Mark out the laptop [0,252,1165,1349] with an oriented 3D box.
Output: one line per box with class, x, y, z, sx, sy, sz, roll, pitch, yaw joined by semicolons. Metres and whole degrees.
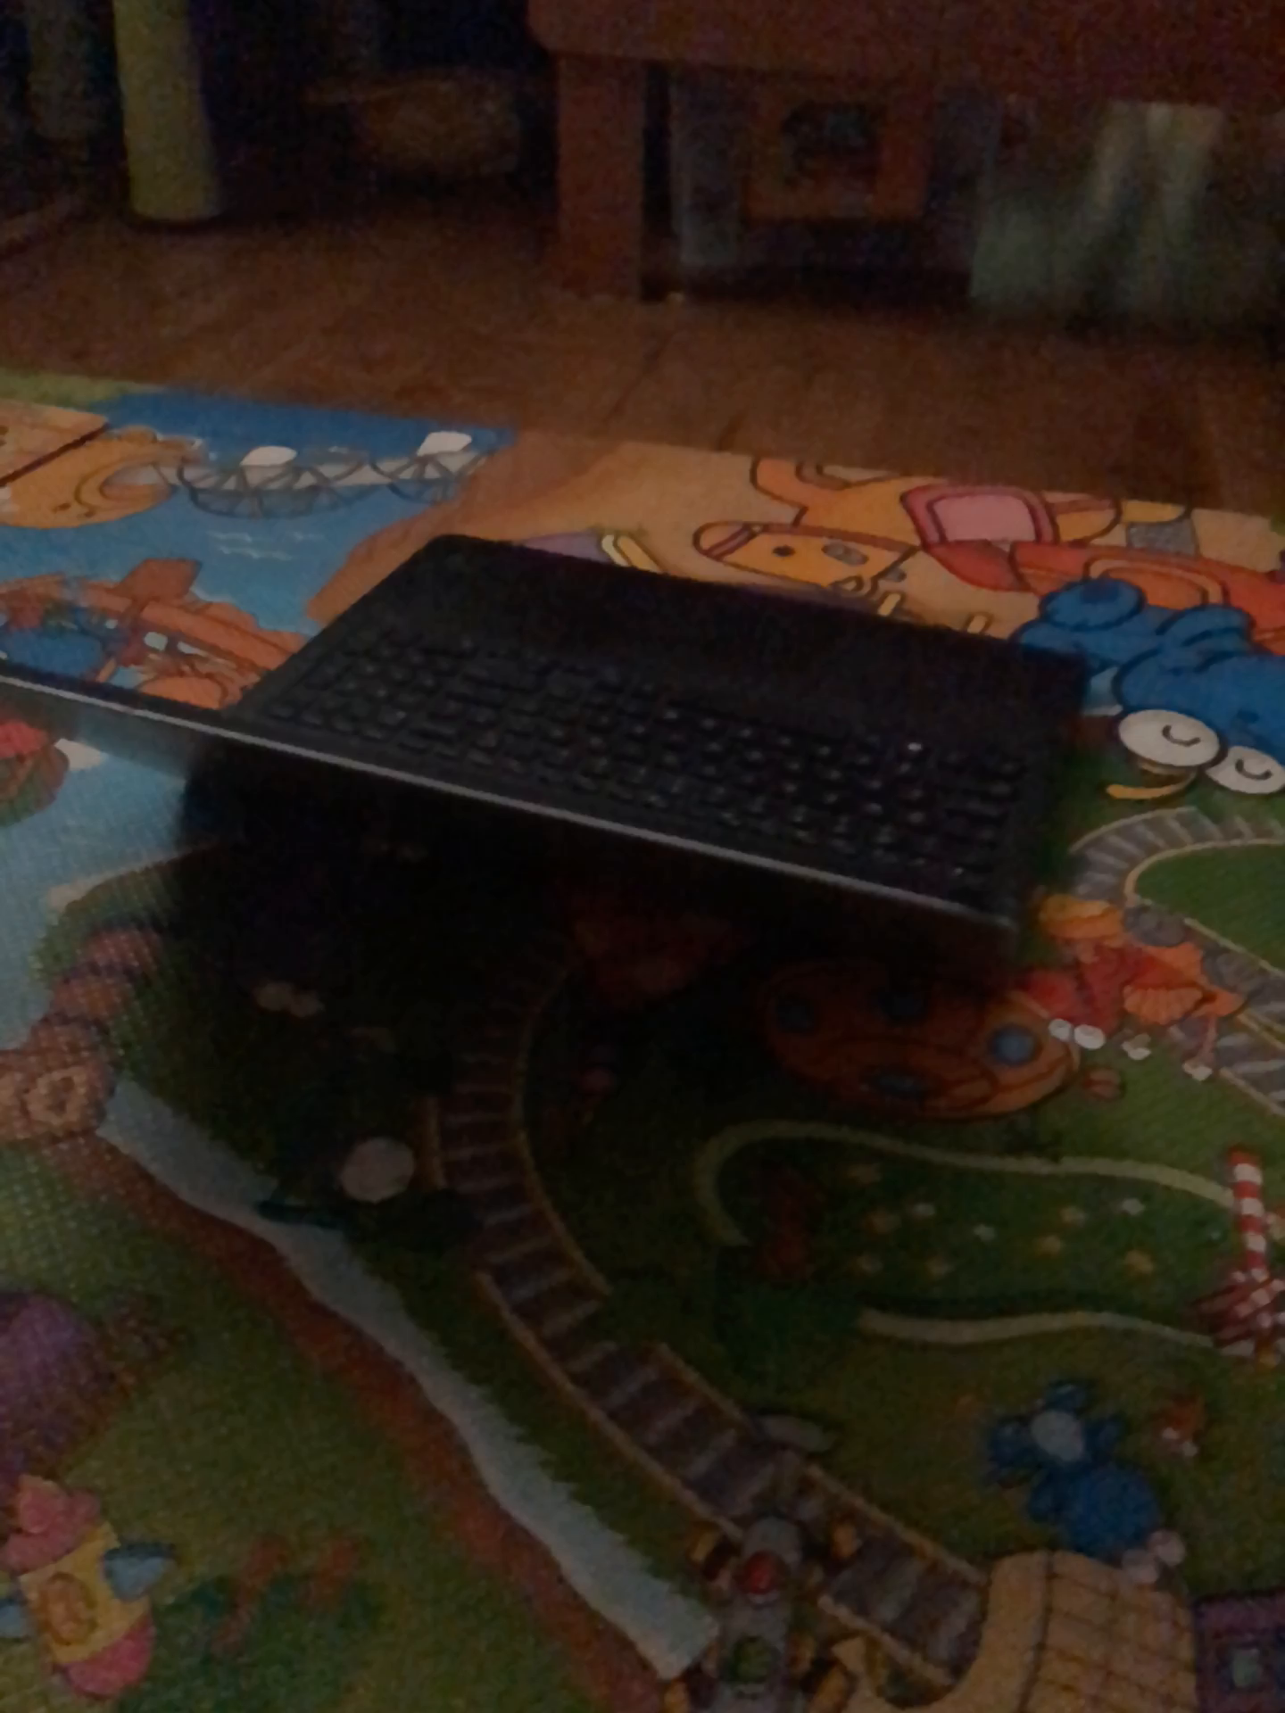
laptop;-0.011;-0.087;0.562;0.361;0.158;0.431;14;38;15
